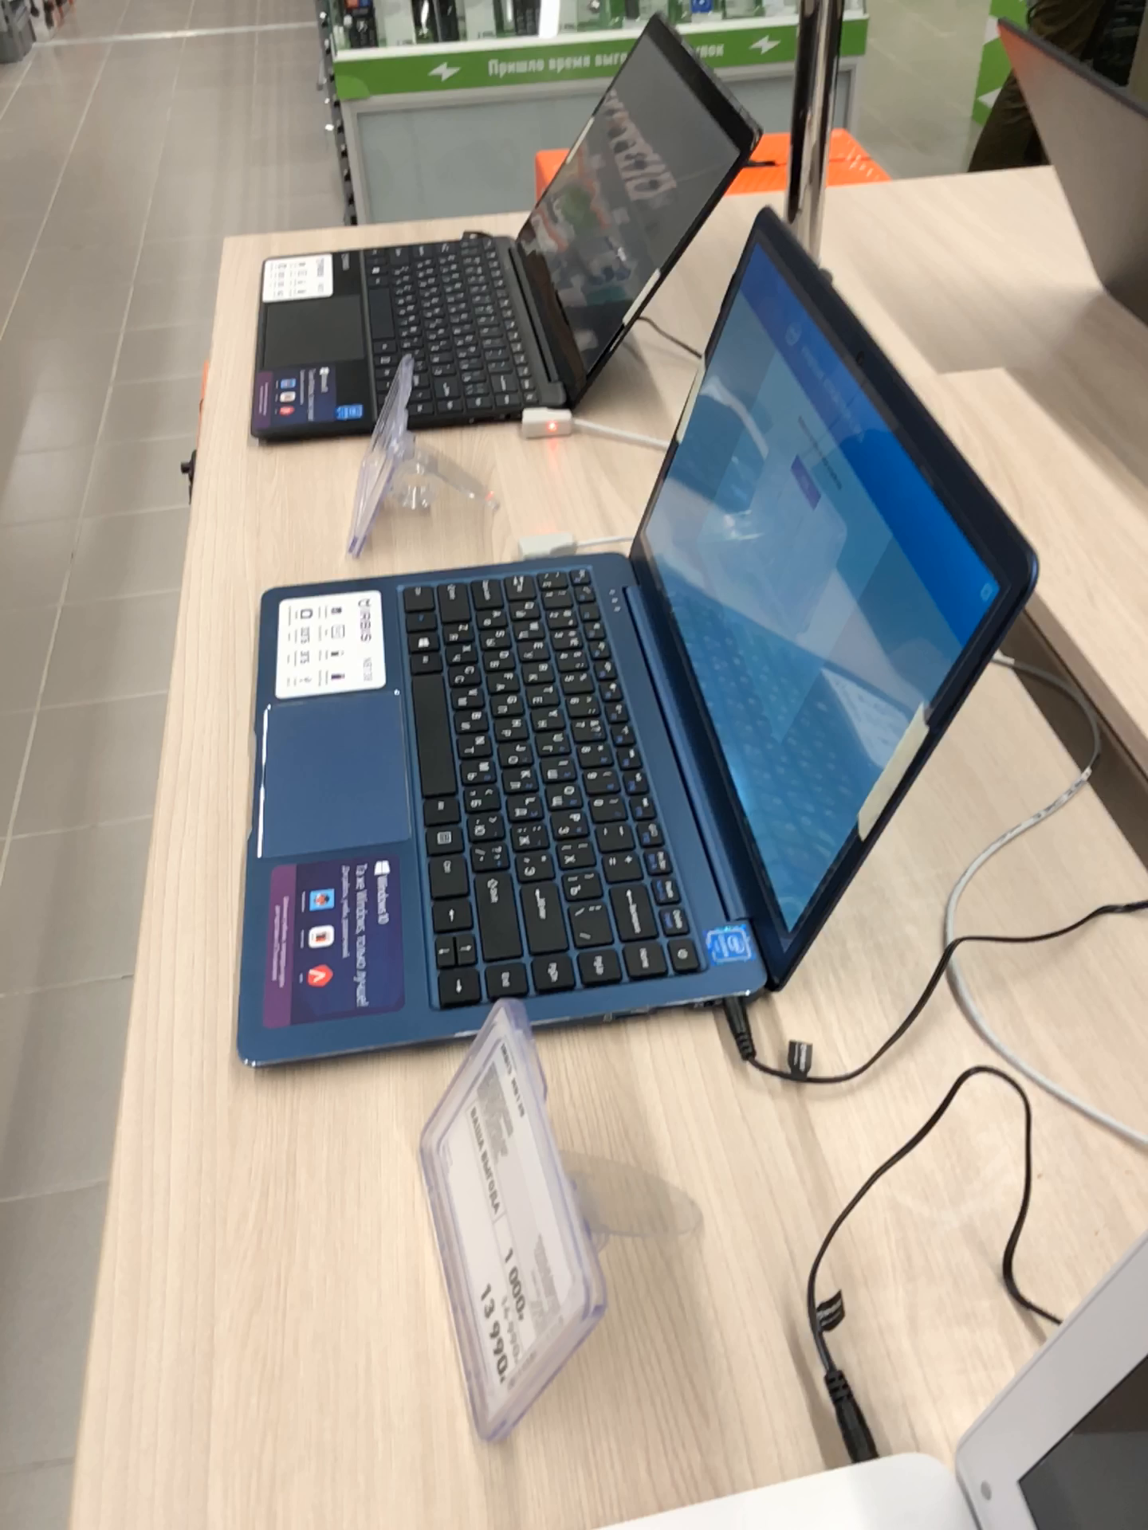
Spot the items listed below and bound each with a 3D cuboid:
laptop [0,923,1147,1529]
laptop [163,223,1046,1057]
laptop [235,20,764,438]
[{"bbox_3d":[0.058,0.231,0.174,0.288,0.218,0.312,-9,42,-6],"label":"laptop"},{"bbox_3d":[-0.005,-0.077,0.555,0.270,0.185,0.310,-7,43,-5],"label":"laptop"},{"bbox_3d":[-0.064,-0.408,0.928,0.327,0.155,0.302,-8,44,-6],"label":"laptop"}]
